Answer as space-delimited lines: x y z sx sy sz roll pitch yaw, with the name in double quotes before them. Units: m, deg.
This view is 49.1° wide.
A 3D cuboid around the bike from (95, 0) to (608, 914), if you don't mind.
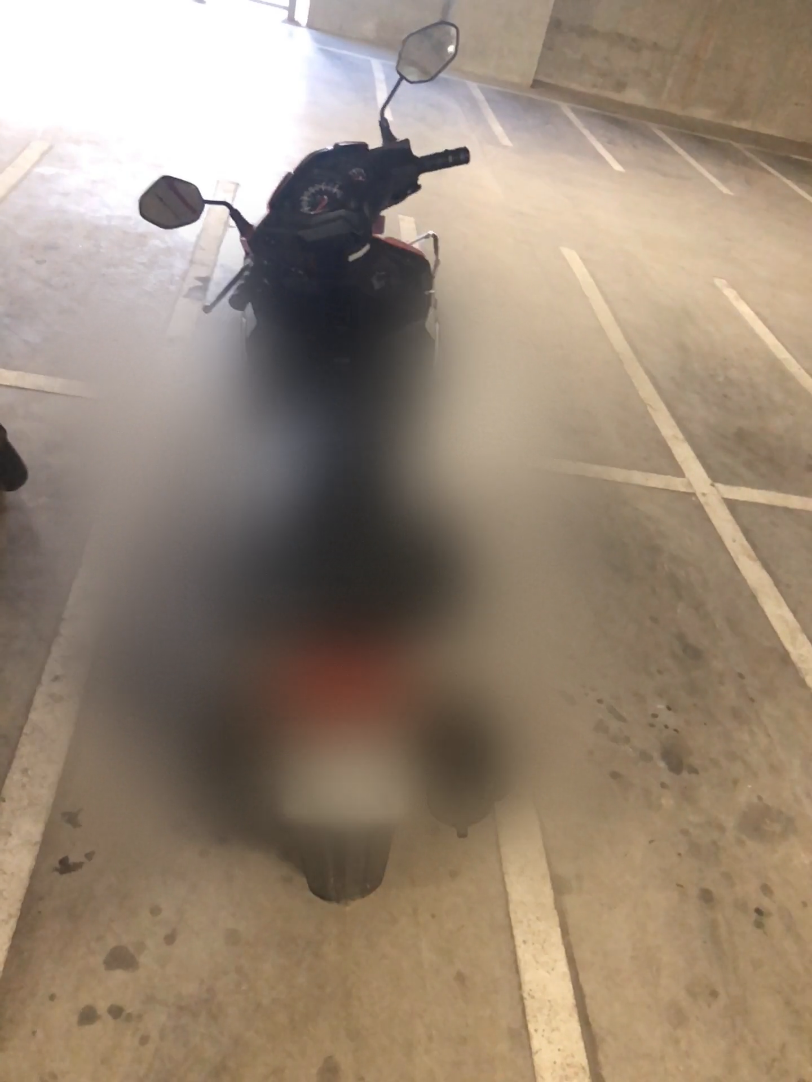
"bike" -0.259 -0.437 2.055 0.582 1.187 1.961 6 41 -13
